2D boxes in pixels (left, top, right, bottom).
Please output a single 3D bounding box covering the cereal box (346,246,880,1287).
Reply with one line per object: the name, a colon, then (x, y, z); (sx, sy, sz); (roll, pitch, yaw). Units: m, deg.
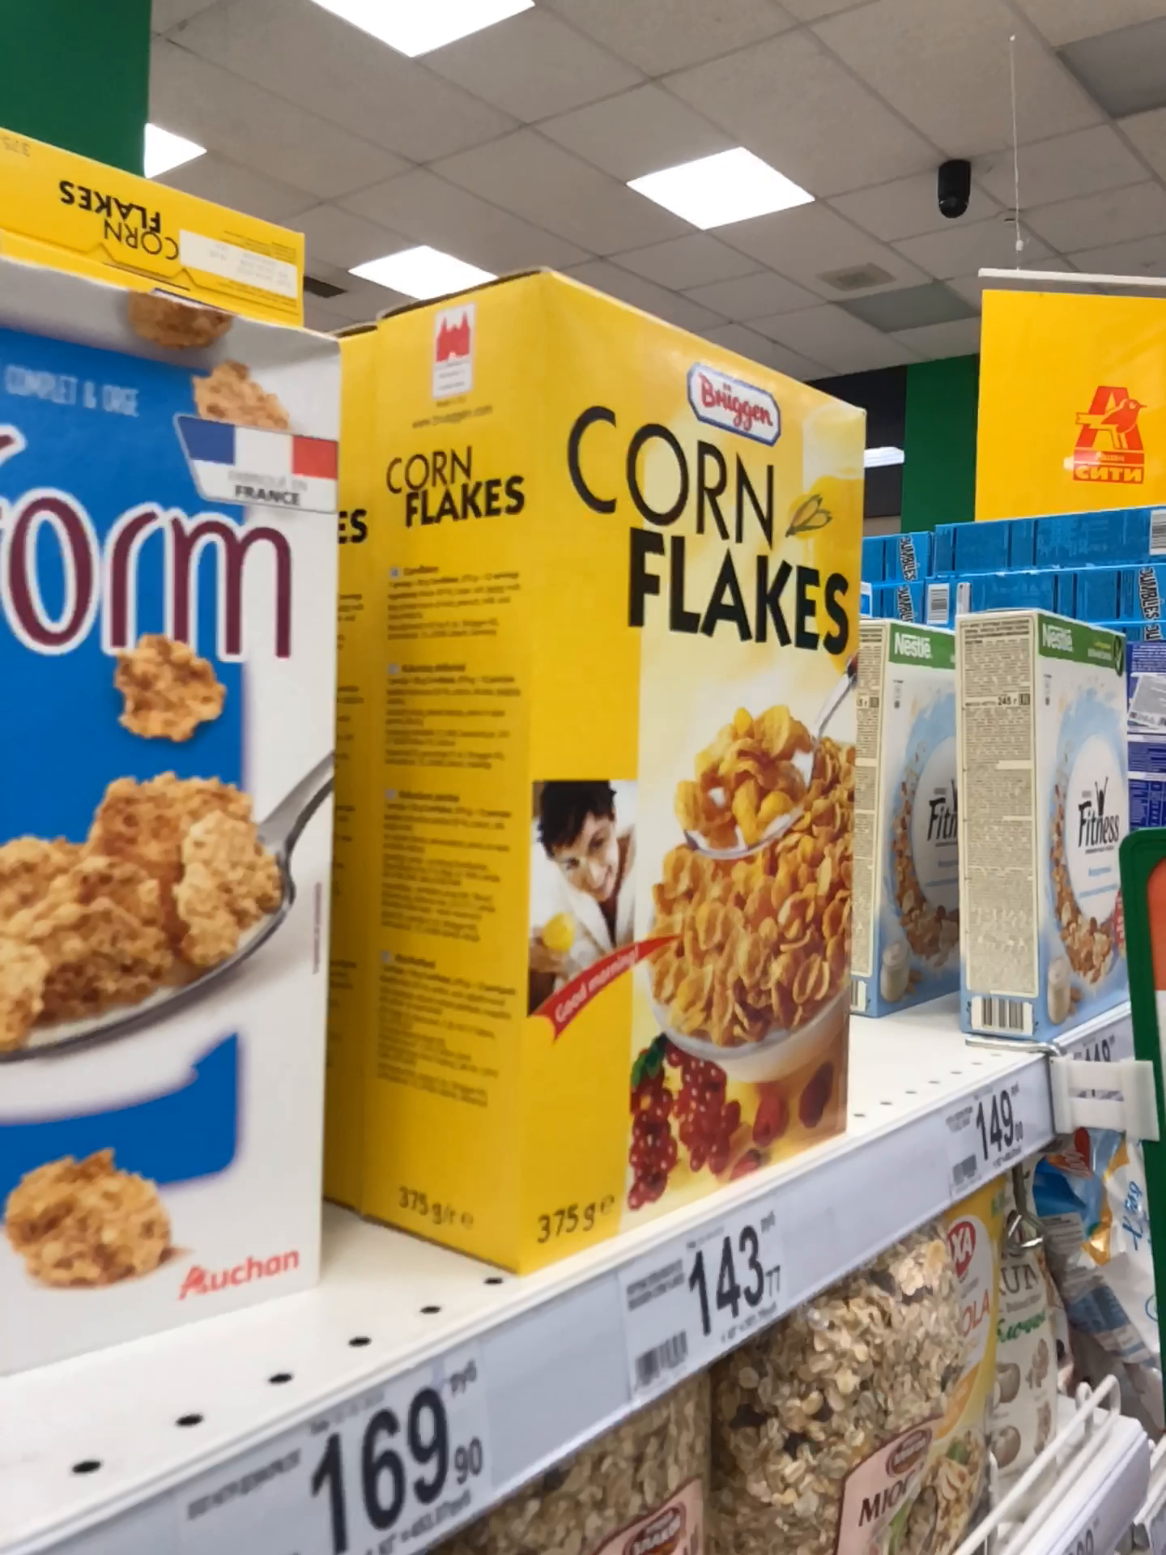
cereal box: (0.022, -0.004, 0.468); (0.080, 0.300, 0.200); (3, 2, 39)
